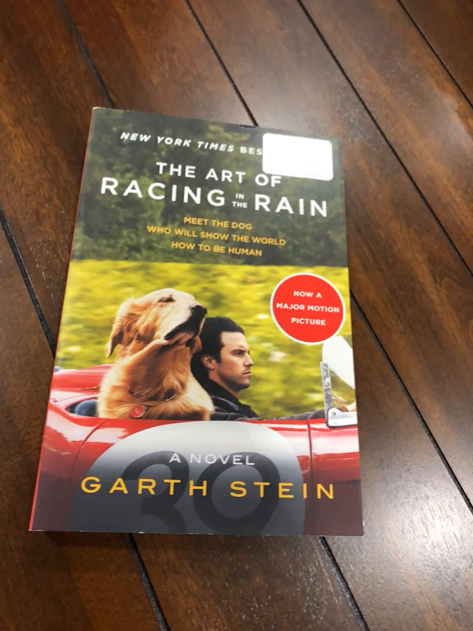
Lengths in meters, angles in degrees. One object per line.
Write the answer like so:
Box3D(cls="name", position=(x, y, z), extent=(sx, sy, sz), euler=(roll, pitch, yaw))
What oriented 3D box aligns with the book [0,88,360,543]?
Box3D(cls="book", position=(-0.019, -0.007, 0.254), extent=(0.140, 0.028, 0.210), euler=(5, 68, -8))
